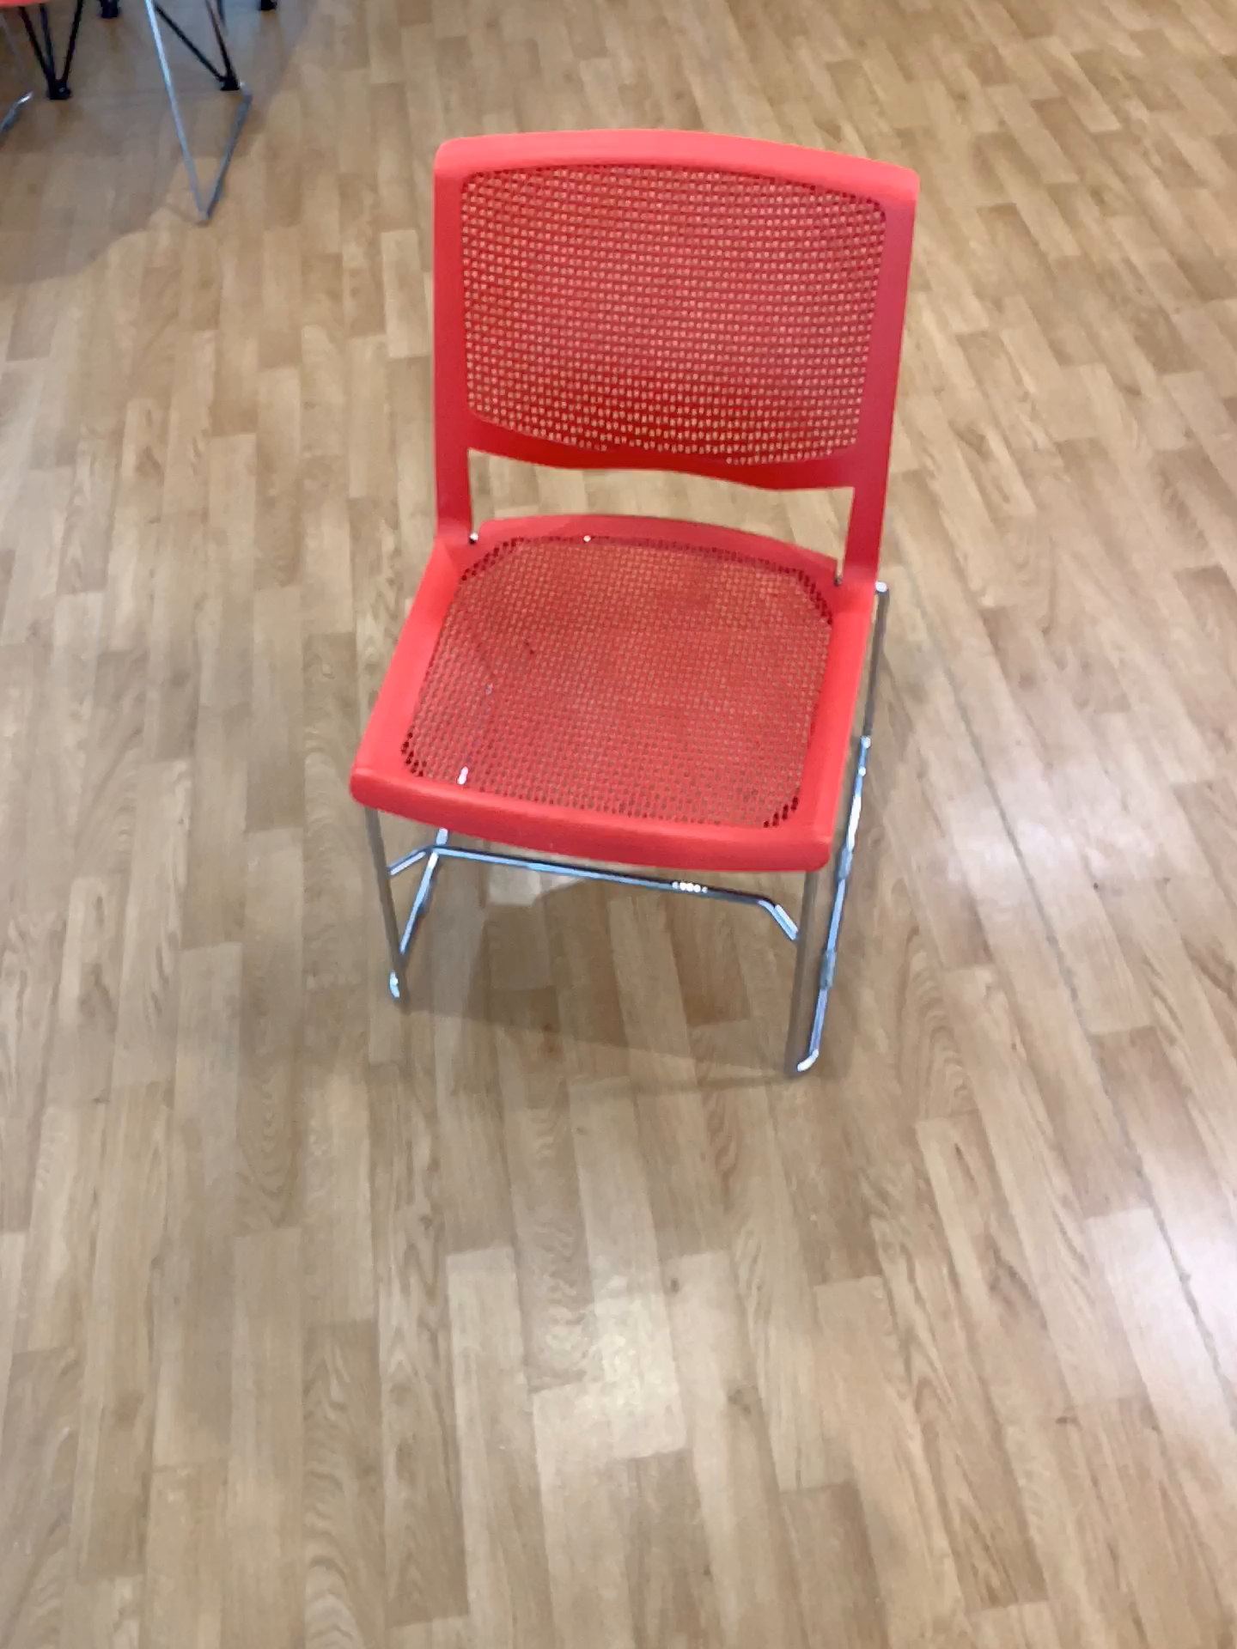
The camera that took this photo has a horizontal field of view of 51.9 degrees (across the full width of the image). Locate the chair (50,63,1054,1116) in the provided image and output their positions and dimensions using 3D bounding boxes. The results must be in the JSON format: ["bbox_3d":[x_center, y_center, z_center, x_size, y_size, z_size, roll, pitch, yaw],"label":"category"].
[{"bbox_3d":[0.012,-0.187,1.197,0.600,0.705,0.594,8,56,8],"label":"chair"}]
